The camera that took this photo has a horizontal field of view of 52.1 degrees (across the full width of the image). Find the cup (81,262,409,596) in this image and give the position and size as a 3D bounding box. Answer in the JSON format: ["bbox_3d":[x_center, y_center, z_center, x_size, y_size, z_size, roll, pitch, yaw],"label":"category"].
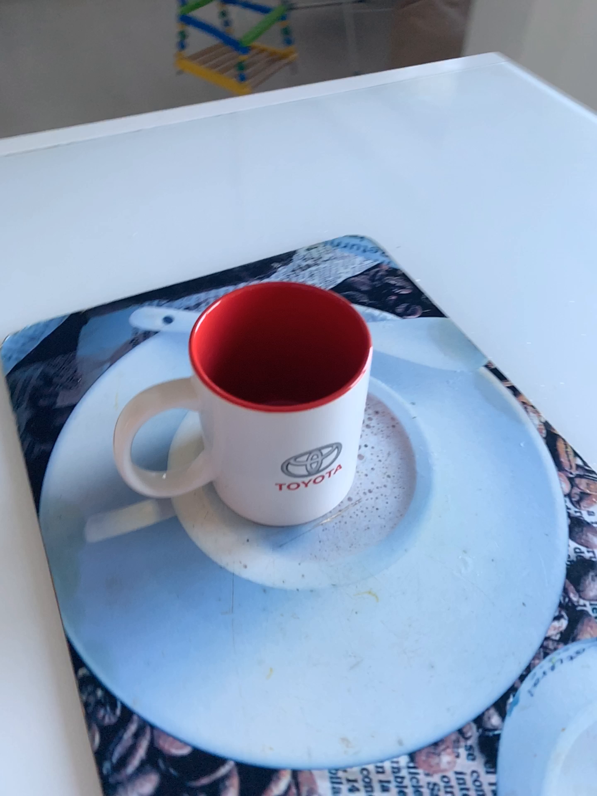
[{"bbox_3d":[-0.025,0.017,0.298,0.117,0.115,0.077,-18,52,-15],"label":"cup"}]
